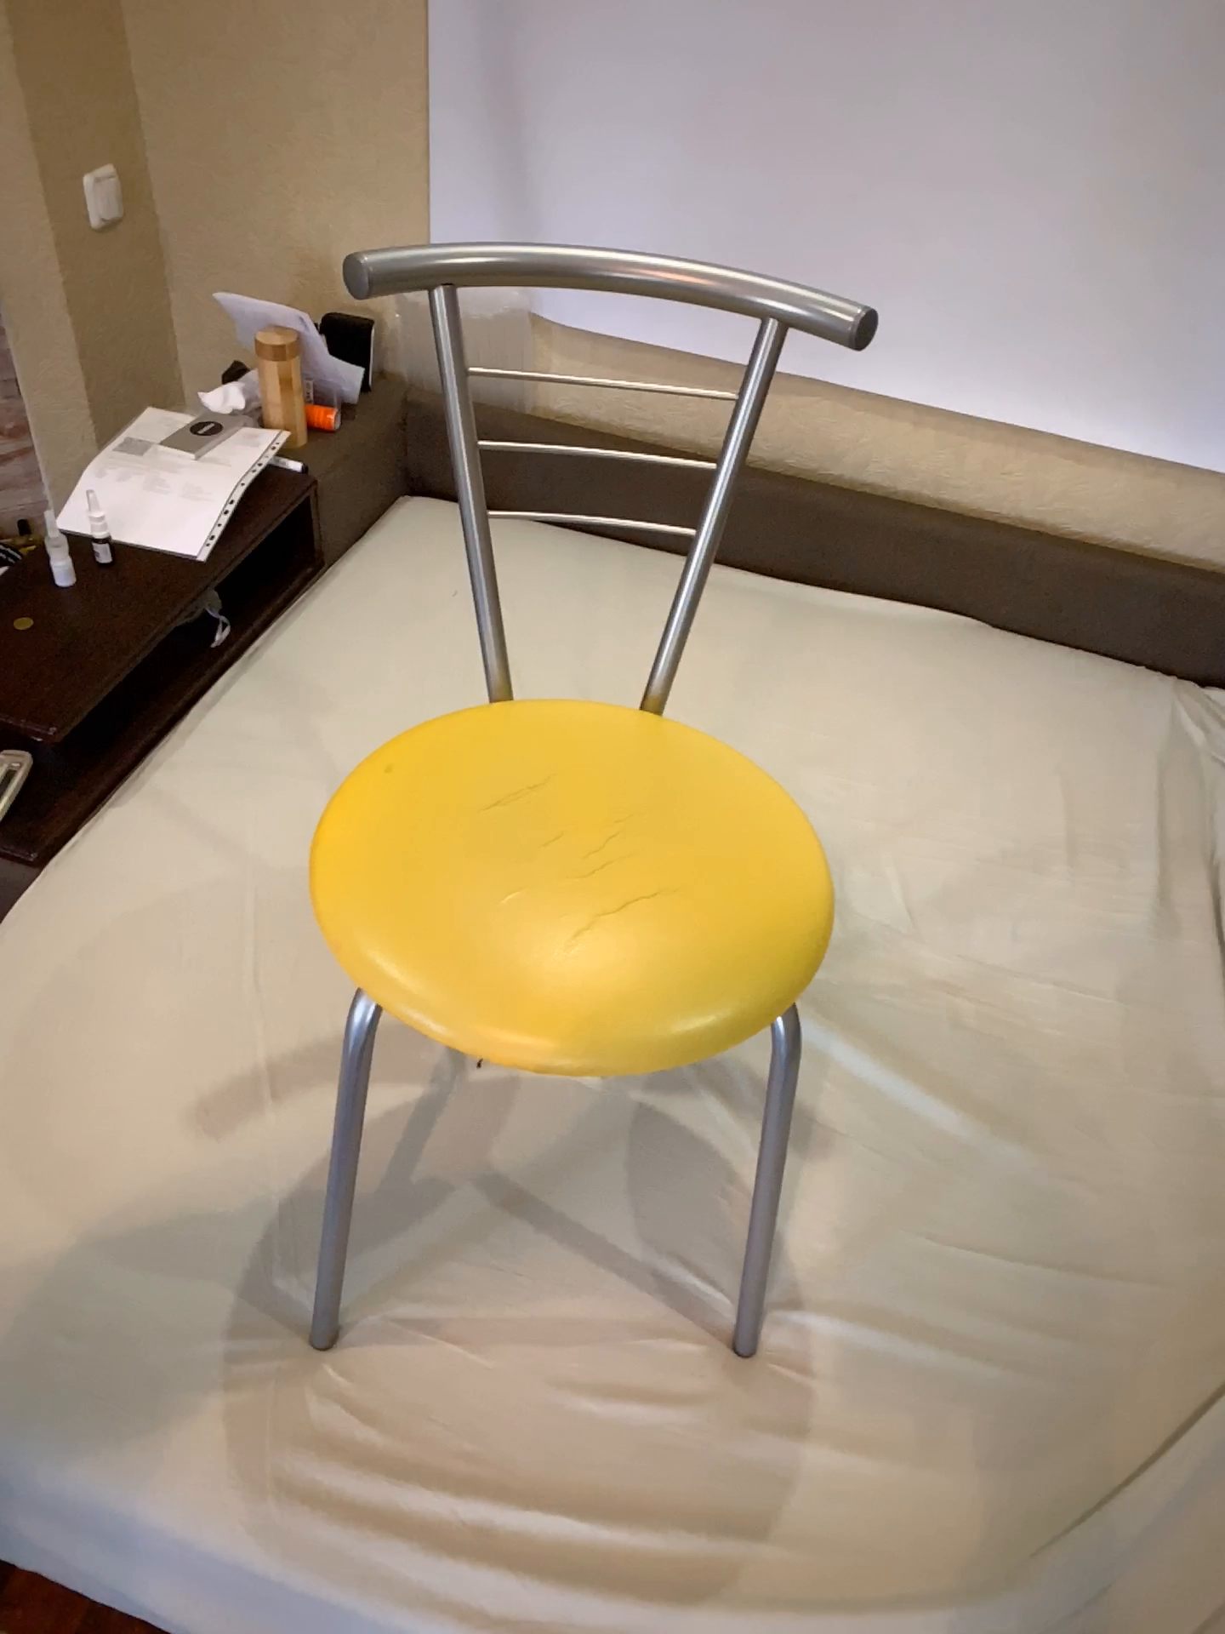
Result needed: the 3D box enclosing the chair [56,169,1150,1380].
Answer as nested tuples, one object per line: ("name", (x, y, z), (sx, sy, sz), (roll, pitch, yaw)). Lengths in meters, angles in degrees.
("chair", (-0.031, 0.007, 0.963), (0.460, 0.763, 0.505), (3, 42, -3))
